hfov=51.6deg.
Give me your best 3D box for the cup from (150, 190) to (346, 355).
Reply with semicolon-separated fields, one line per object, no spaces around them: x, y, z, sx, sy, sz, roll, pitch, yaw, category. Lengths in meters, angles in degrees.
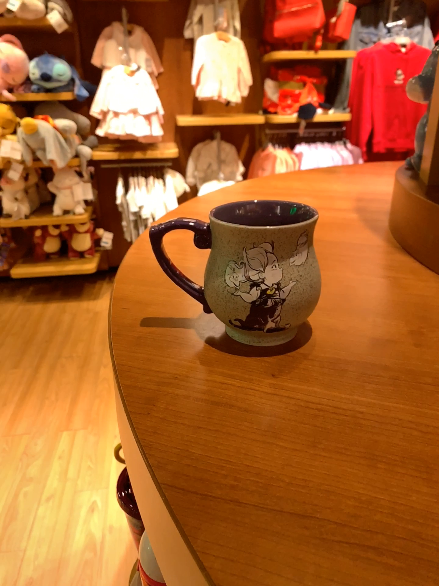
0.030;-0.026;0.392;0.140;0.099;0.115;4;24;11;cup
